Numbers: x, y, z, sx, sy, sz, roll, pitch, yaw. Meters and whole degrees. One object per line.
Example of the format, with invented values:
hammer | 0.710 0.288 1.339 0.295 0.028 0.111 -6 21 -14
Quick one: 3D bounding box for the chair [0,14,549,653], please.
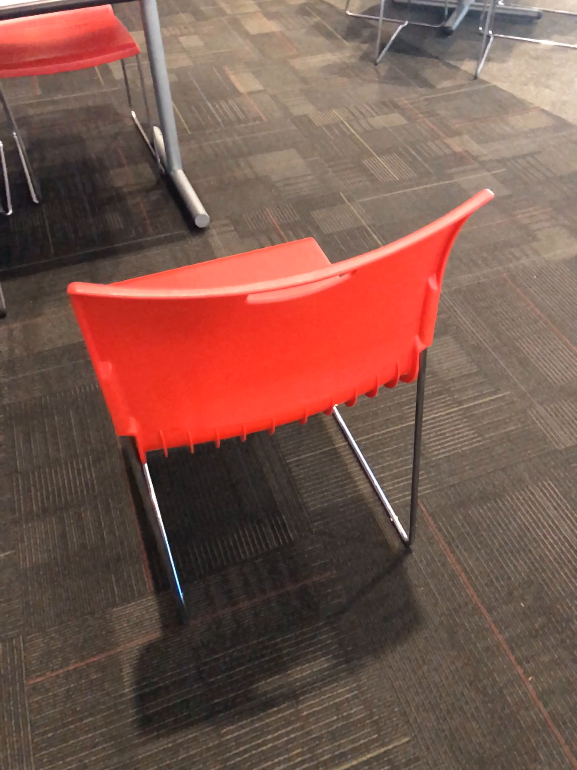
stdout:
chair | -0.087 -0.078 1.086 0.560 0.767 0.613 -15 49 -13
